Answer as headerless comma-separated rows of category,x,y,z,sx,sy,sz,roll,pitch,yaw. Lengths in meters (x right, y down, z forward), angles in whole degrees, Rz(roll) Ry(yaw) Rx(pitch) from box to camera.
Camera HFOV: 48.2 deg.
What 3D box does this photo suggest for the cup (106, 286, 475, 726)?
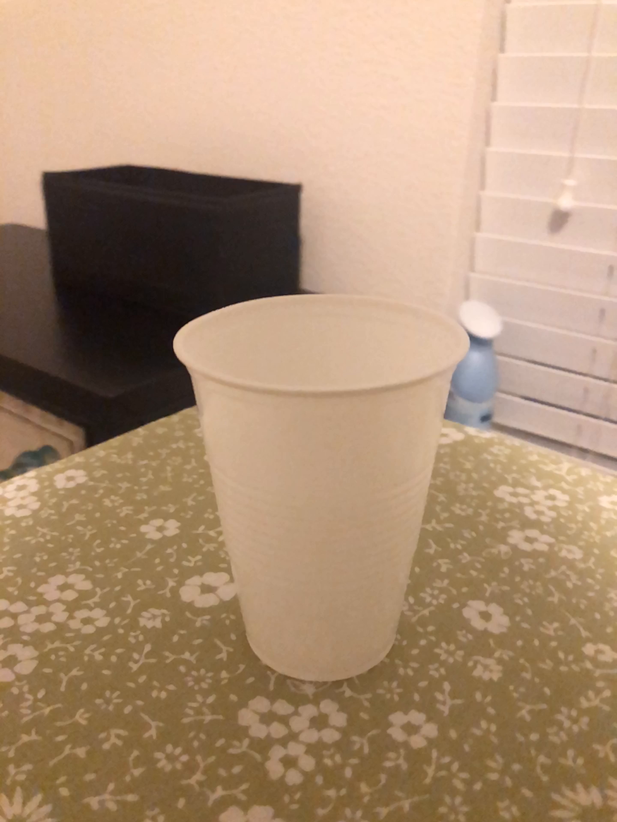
cup,0.002,0.019,0.202,0.078,0.090,0.078,0,23,0
